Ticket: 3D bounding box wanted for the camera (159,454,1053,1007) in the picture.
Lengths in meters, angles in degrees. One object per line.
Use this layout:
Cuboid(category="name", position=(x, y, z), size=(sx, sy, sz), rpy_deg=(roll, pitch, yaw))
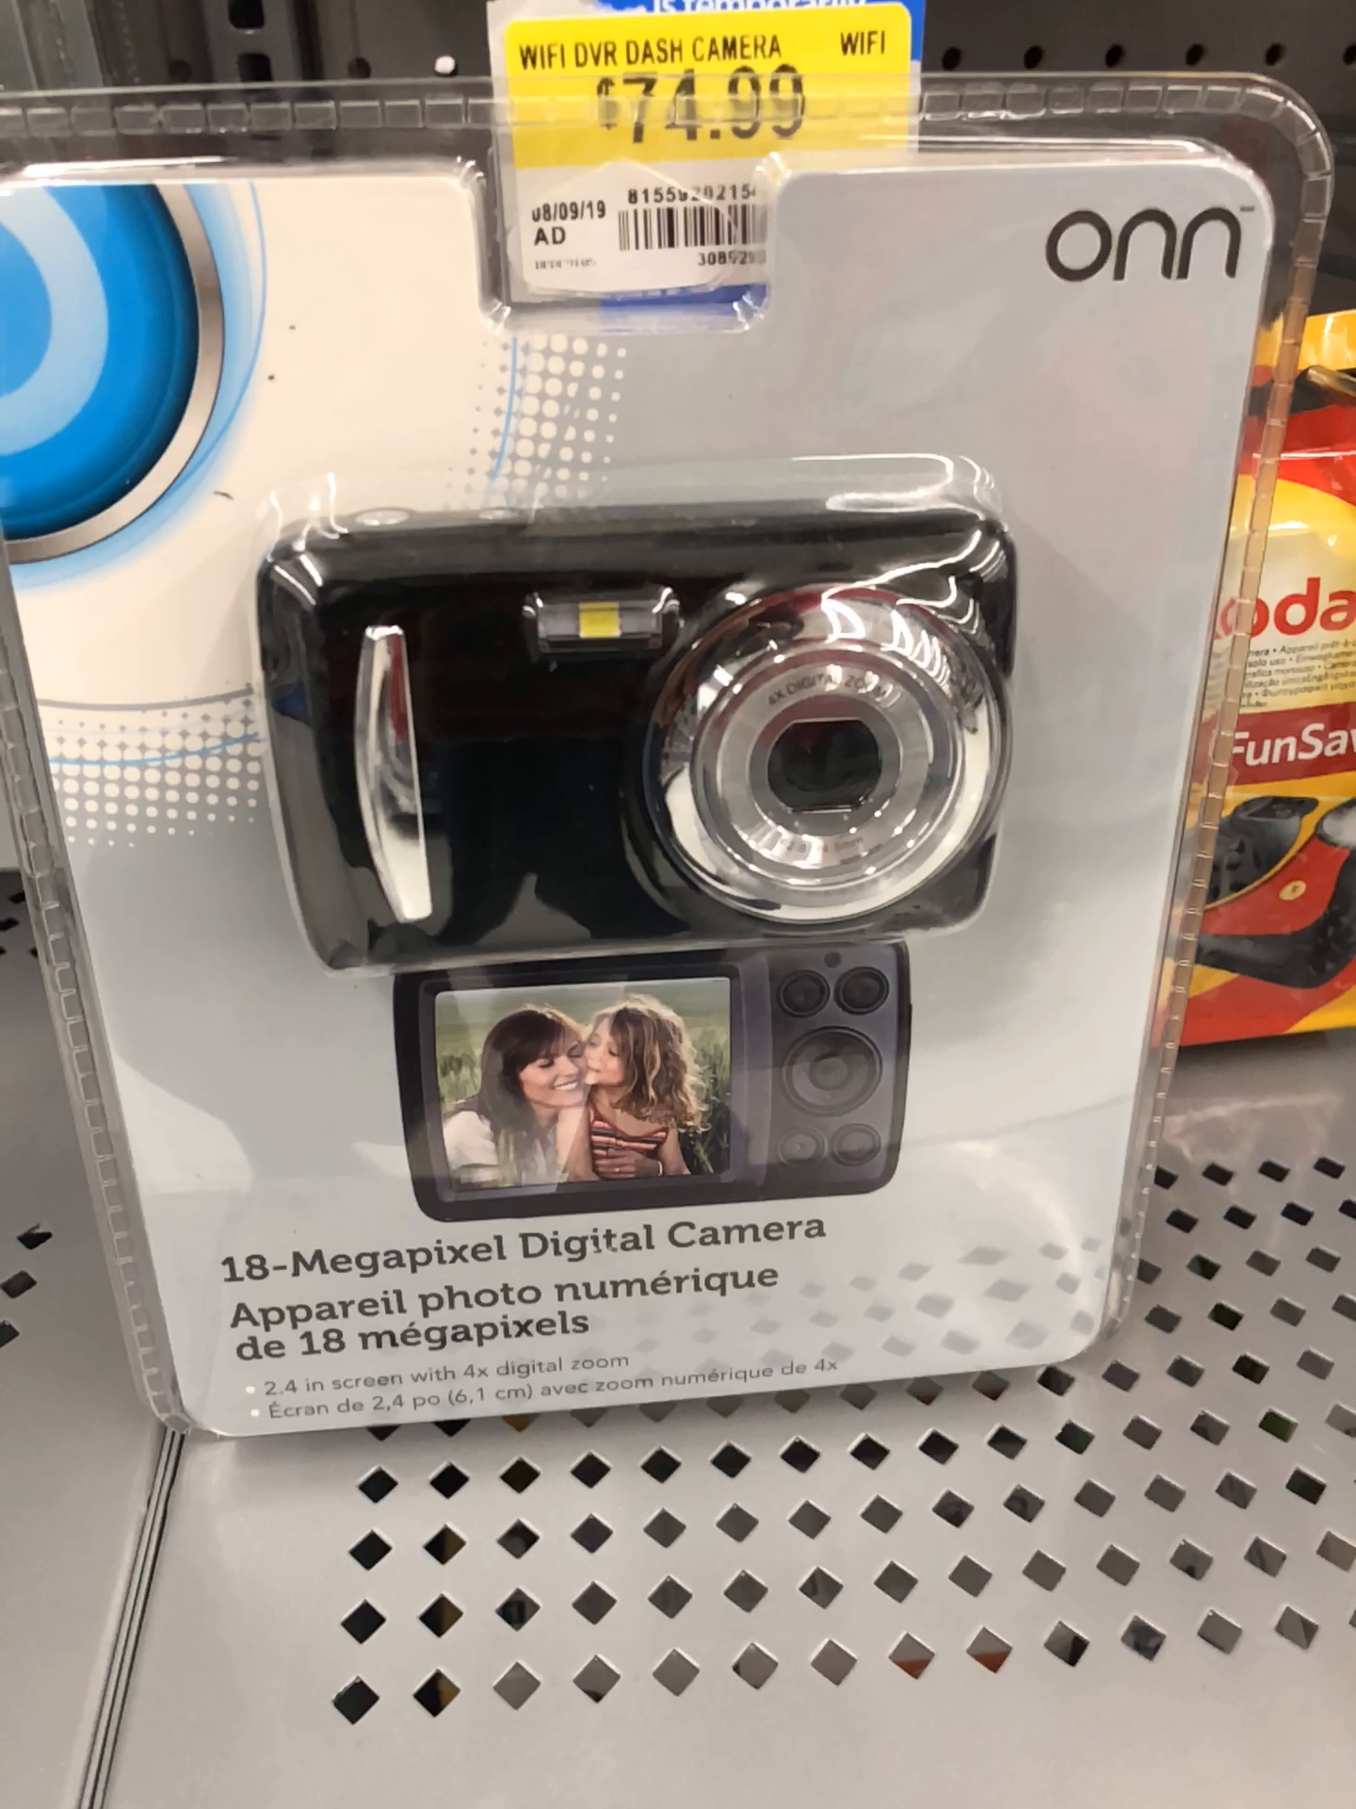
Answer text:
Cuboid(category="camera", position=(-0.008, -0.023, 0.197), size=(0.100, 0.060, 0.030), rpy_deg=(-3, 30, -4))
